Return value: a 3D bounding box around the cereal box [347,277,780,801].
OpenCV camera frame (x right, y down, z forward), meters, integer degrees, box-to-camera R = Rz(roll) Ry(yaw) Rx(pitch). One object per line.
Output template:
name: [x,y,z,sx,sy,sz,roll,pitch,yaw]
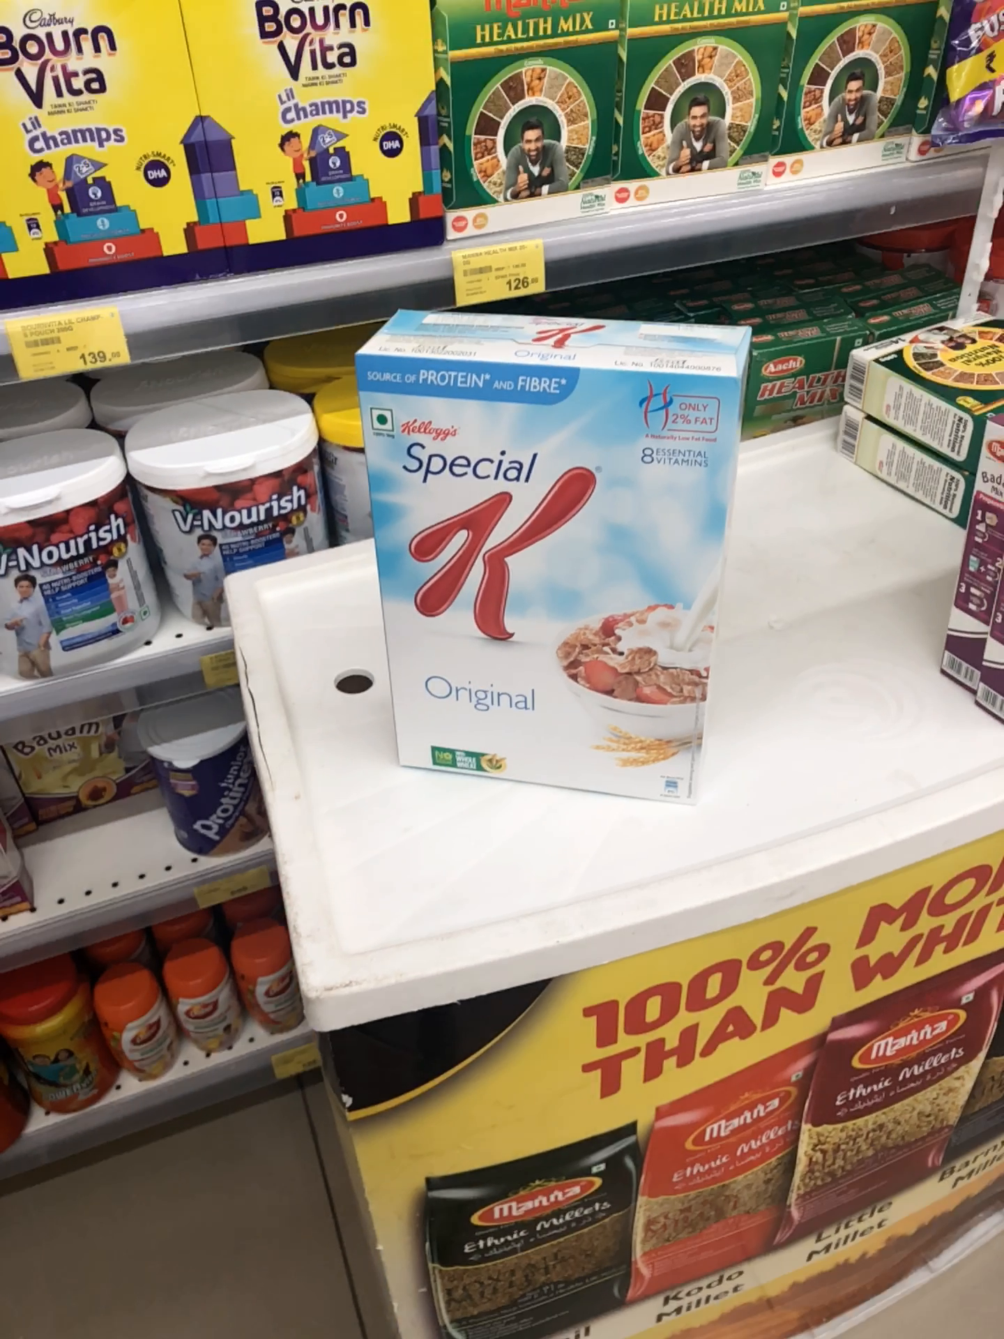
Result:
cereal box: [0.033,-0.062,0.590,0.190,0.259,0.070,7,37,11]
